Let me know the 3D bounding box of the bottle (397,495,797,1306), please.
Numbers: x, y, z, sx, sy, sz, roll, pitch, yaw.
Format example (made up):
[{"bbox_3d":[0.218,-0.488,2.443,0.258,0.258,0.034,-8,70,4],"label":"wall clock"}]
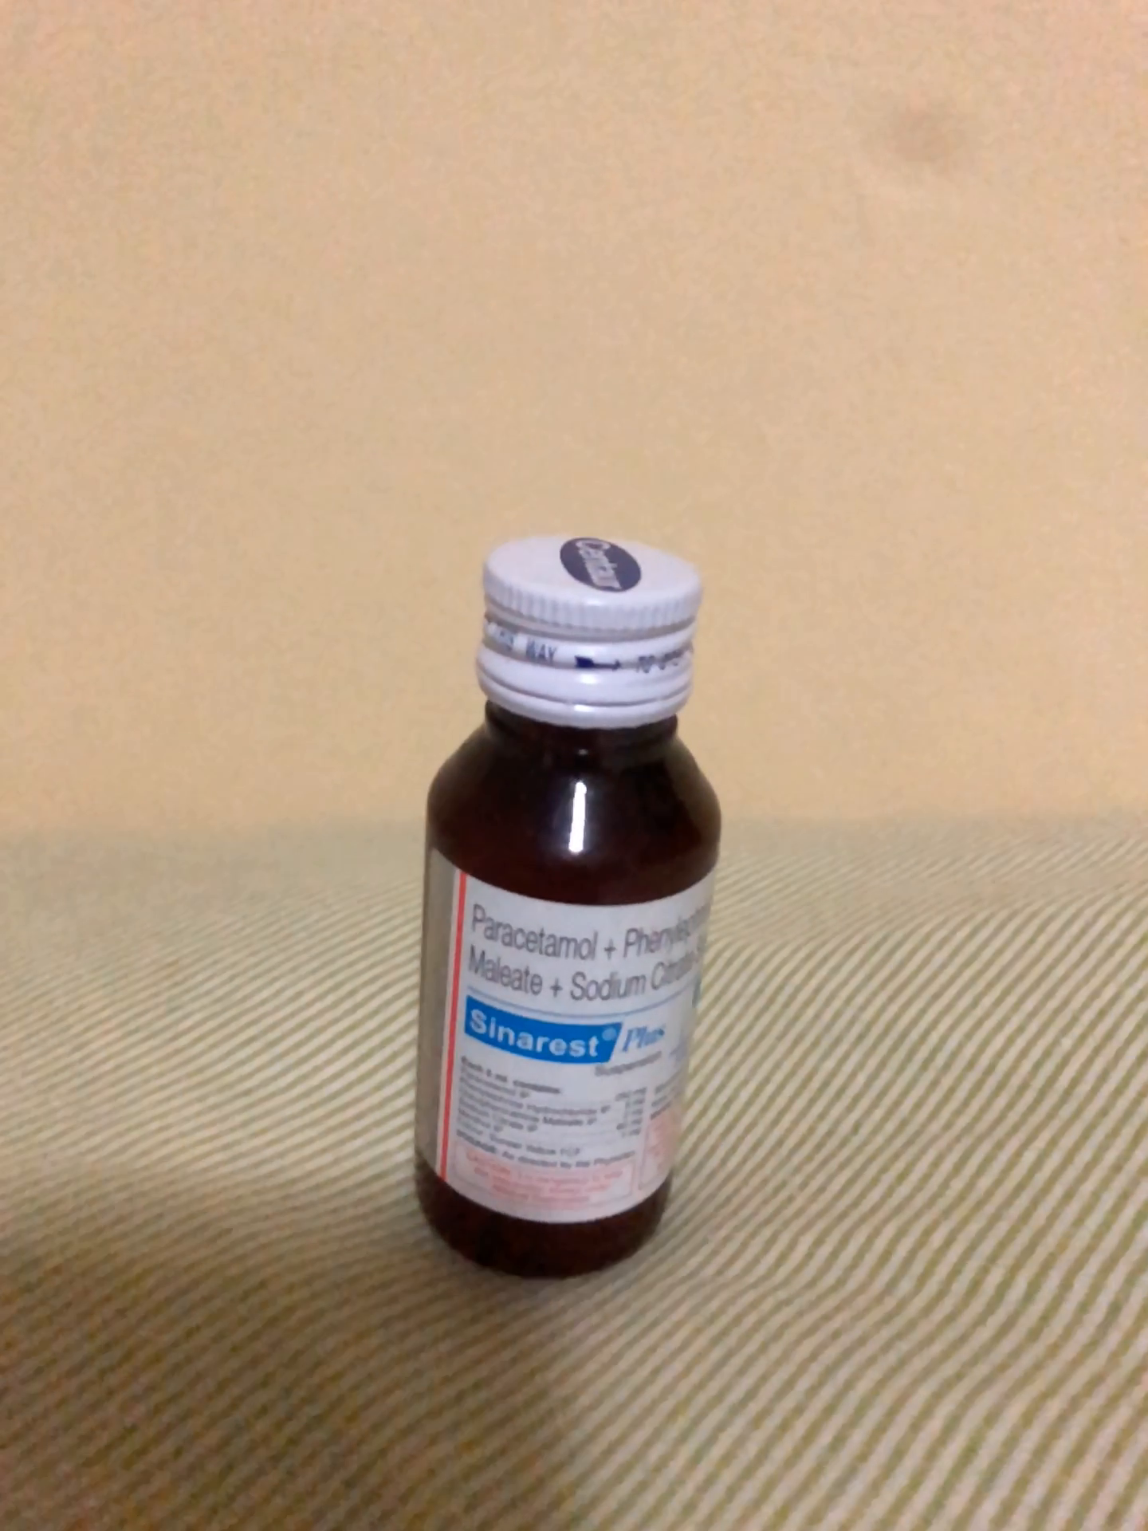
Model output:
[{"bbox_3d":[-0.002,0.019,0.174,0.040,0.100,0.040,4,24,-2],"label":"bottle"}]
